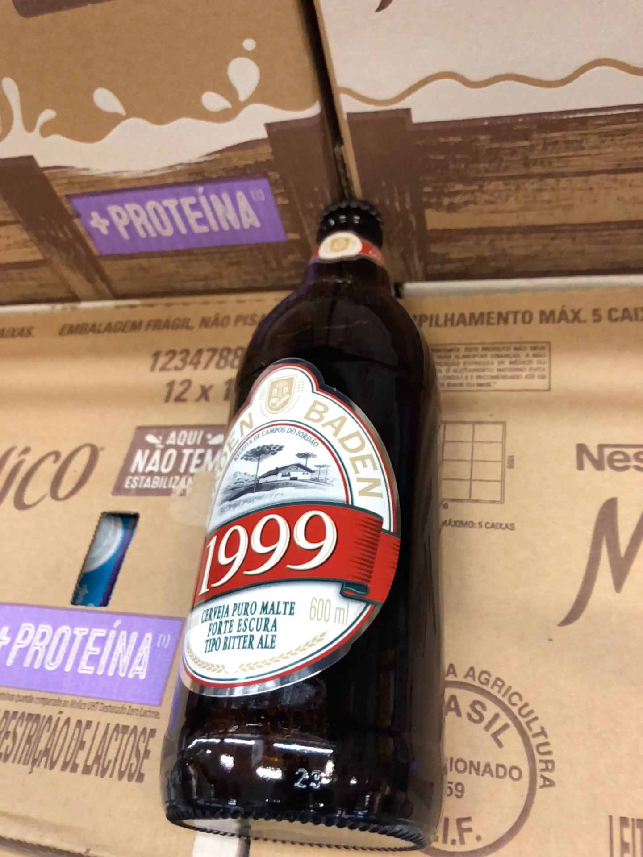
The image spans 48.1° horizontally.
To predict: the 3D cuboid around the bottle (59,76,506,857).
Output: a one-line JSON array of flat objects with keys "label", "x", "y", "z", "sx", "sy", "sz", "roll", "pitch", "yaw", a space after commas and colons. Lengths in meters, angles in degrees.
[{"label": "bottle", "x": 0.009, "y": 0.000, "z": 0.265, "sx": 0.090, "sy": 0.099, "sz": 0.281, "roll": -5, "pitch": 53, "yaw": 13}]
